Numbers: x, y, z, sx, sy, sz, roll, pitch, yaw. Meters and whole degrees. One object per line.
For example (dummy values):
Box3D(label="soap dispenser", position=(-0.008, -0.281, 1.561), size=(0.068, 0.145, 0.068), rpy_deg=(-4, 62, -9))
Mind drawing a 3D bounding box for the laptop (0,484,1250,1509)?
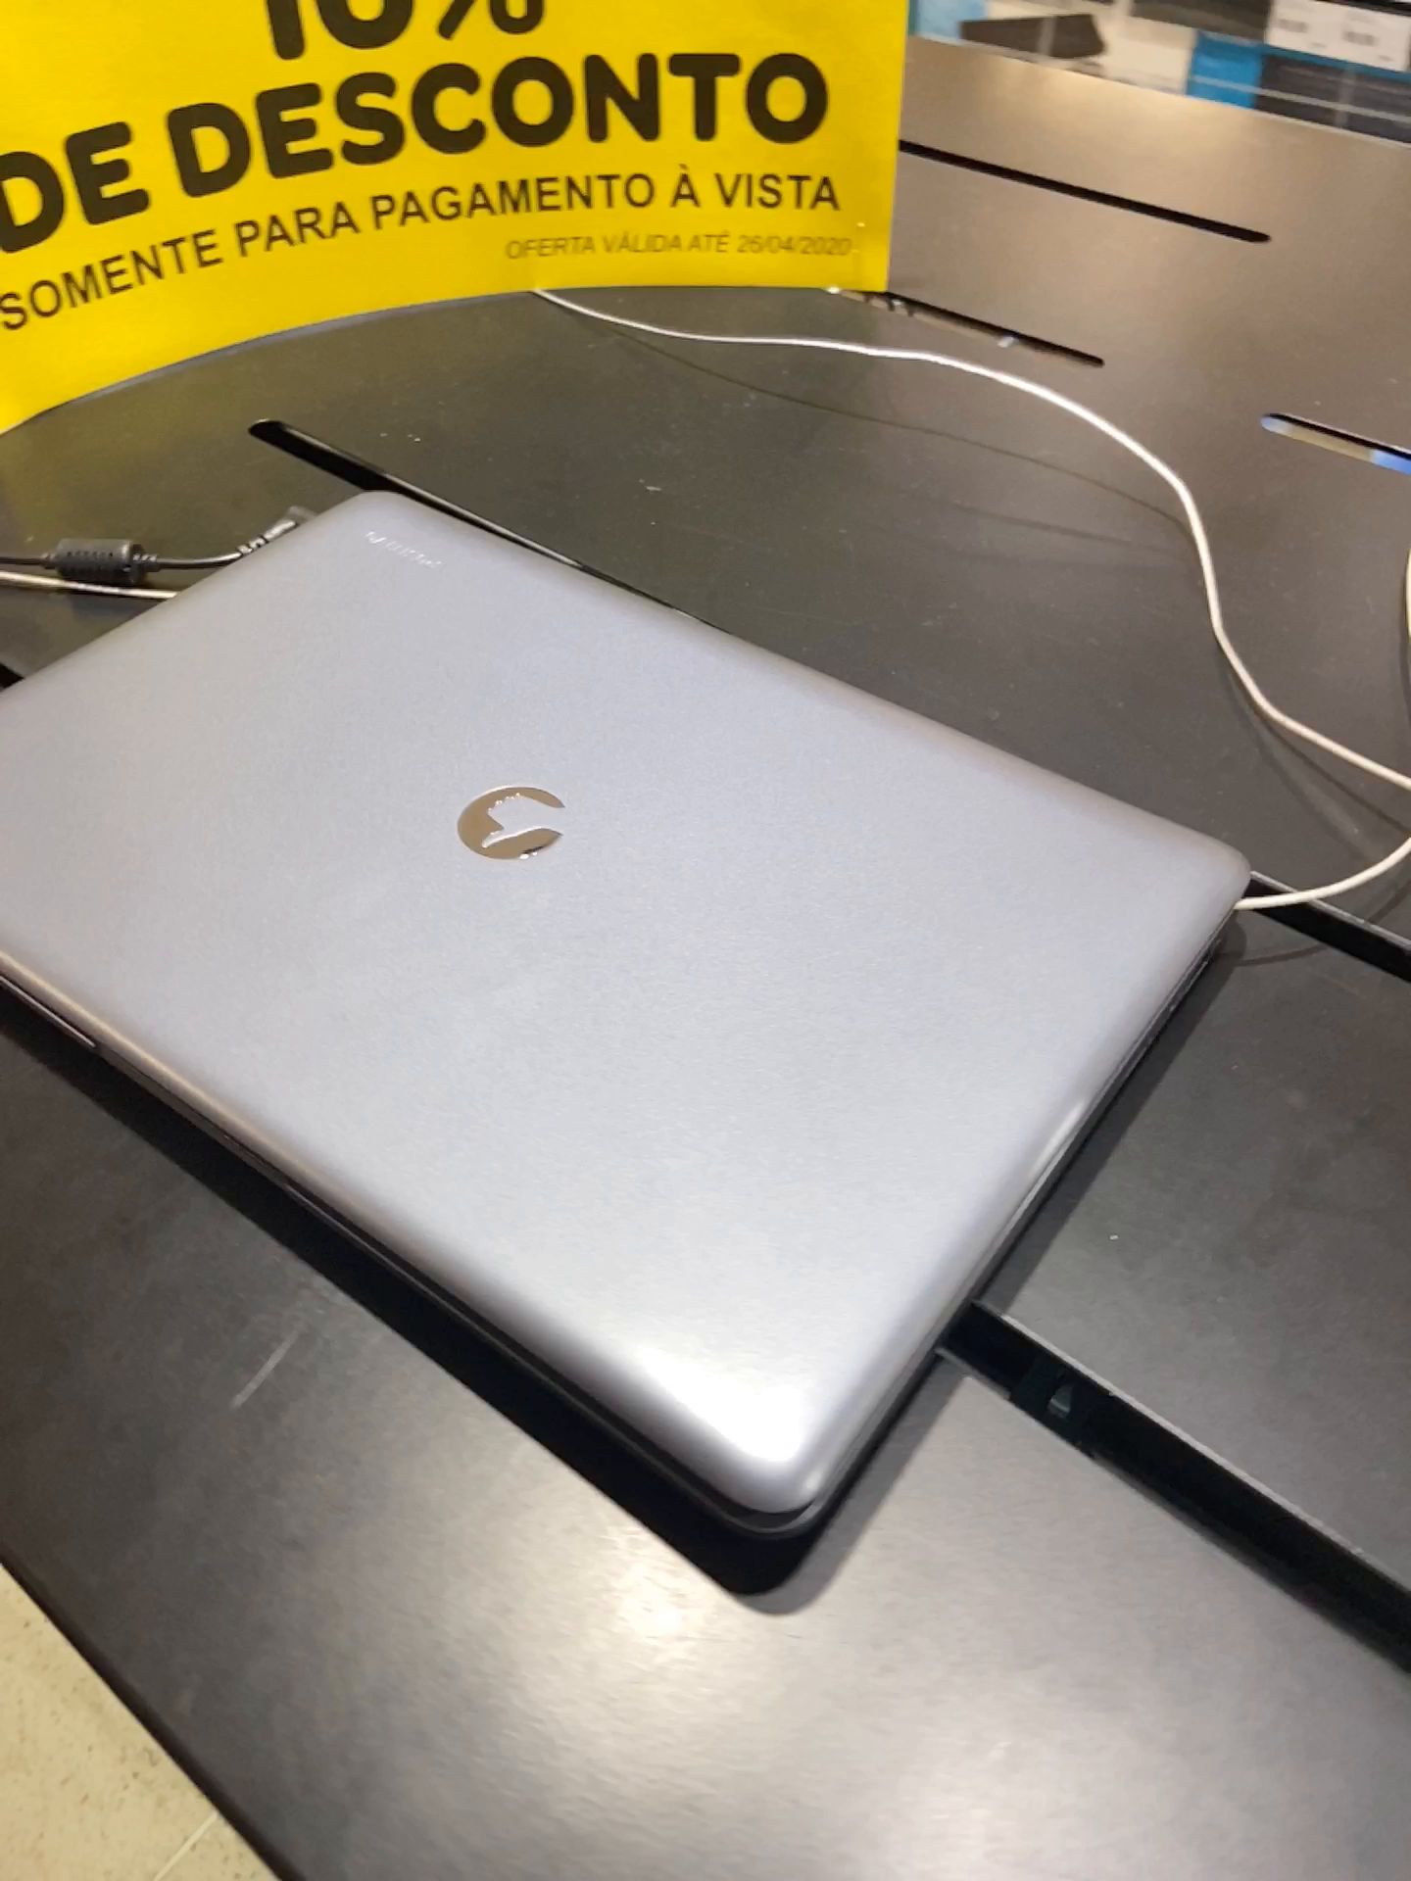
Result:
Box3D(label="laptop", position=(-0.055, -0.030, 0.389), size=(0.330, 0.001, 0.213), rpy_deg=(28, 53, 25))
